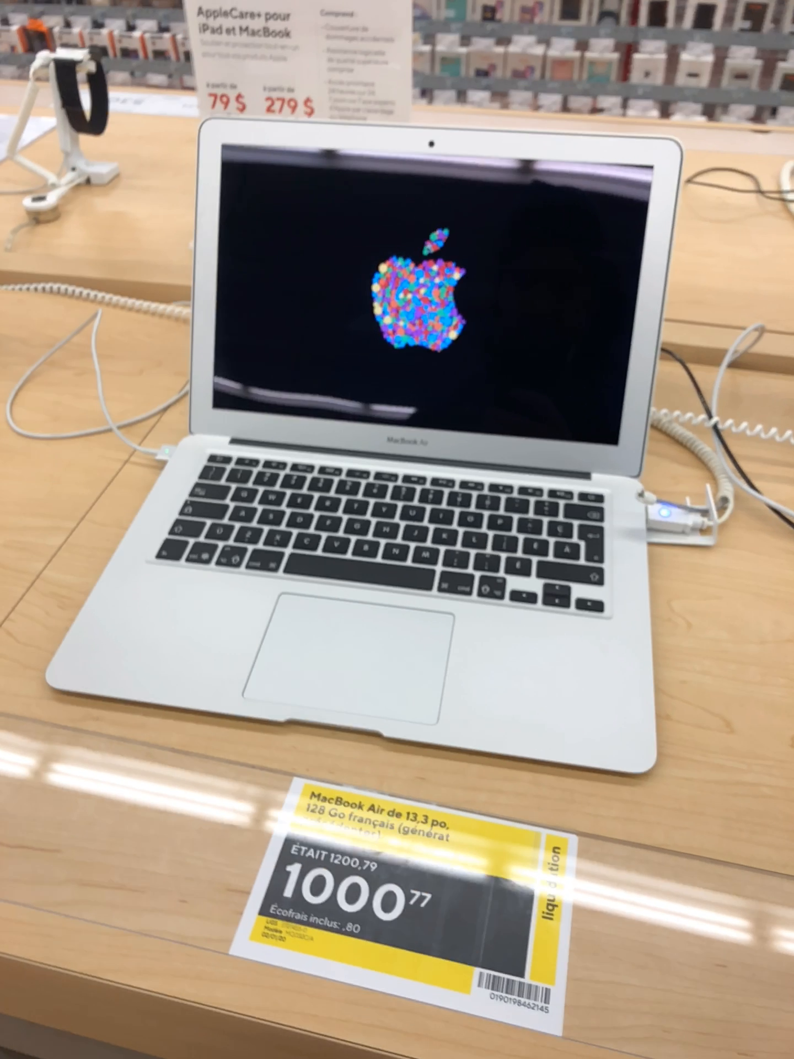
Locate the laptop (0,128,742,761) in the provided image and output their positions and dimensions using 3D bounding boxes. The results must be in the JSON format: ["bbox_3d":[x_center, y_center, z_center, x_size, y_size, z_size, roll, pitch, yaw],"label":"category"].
[{"bbox_3d":[-0.006,-0.076,0.500,0.305,0.186,0.326,6,40,6],"label":"laptop"}]
